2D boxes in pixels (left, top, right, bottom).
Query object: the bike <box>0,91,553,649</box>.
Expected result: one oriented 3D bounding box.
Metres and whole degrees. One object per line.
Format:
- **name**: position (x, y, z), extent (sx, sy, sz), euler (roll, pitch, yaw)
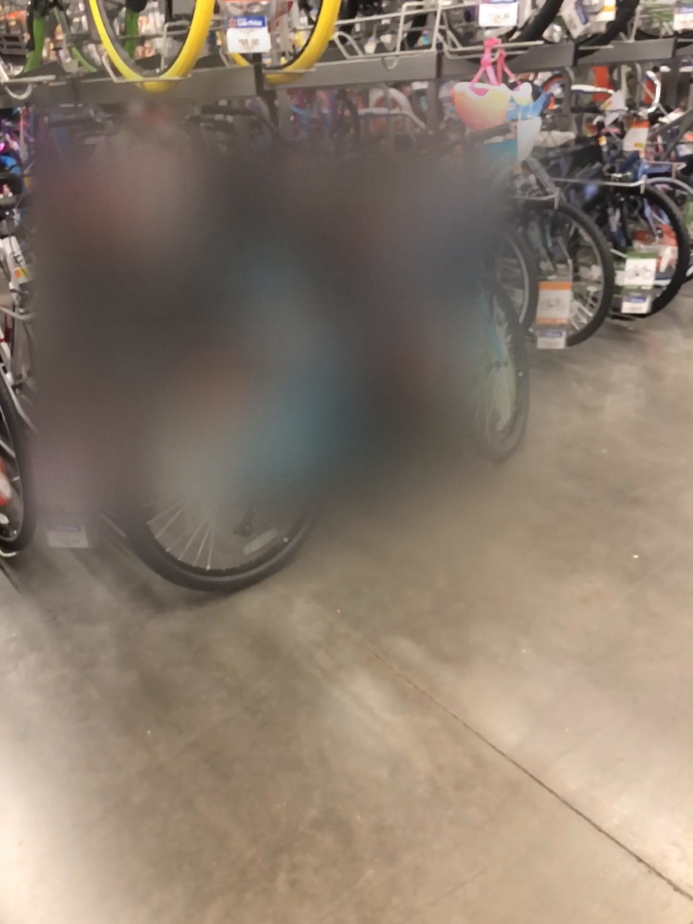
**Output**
- **bike**: position (-0.064, -0.456, 2.401), extent (0.545, 1.121, 1.710), euler (24, 39, 39)
